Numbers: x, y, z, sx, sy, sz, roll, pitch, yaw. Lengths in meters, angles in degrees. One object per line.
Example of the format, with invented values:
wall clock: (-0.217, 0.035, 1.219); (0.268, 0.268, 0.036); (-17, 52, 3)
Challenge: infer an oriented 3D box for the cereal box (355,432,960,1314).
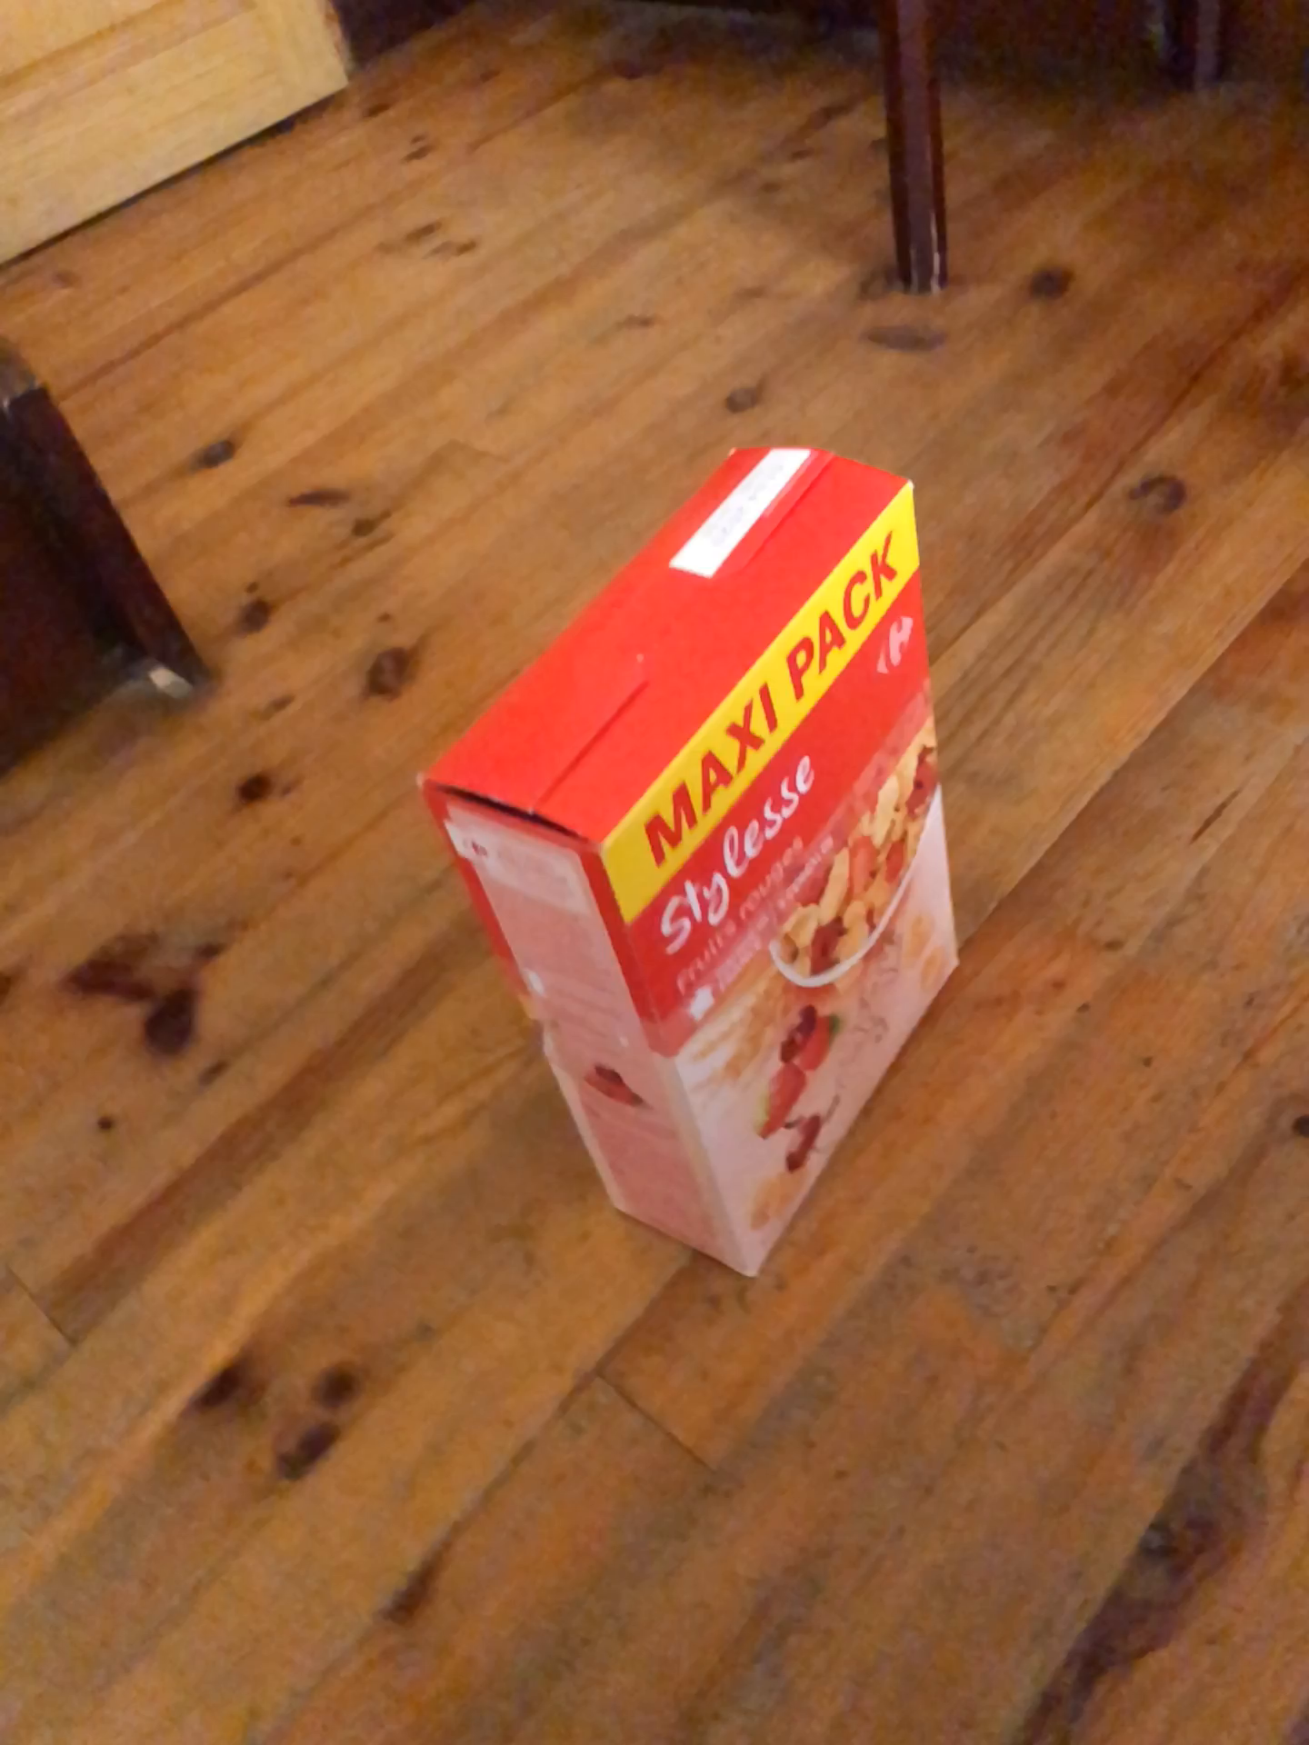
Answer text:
cereal box: (0.029, 0.010, 0.592); (0.090, 0.289, 0.211); (21, 57, 30)
